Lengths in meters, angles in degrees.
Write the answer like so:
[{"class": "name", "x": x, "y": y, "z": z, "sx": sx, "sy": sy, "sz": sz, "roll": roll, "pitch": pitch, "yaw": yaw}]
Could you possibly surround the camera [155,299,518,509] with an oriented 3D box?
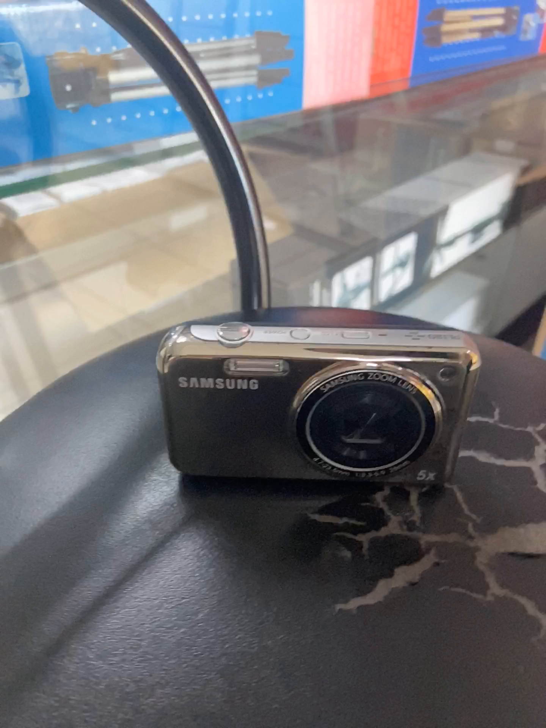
[{"class": "camera", "x": 0.018, "y": 0.013, "z": 0.188, "sx": 0.100, "sy": 0.060, "sz": 0.030, "roll": 2, "pitch": 35, "yaw": 3}]
